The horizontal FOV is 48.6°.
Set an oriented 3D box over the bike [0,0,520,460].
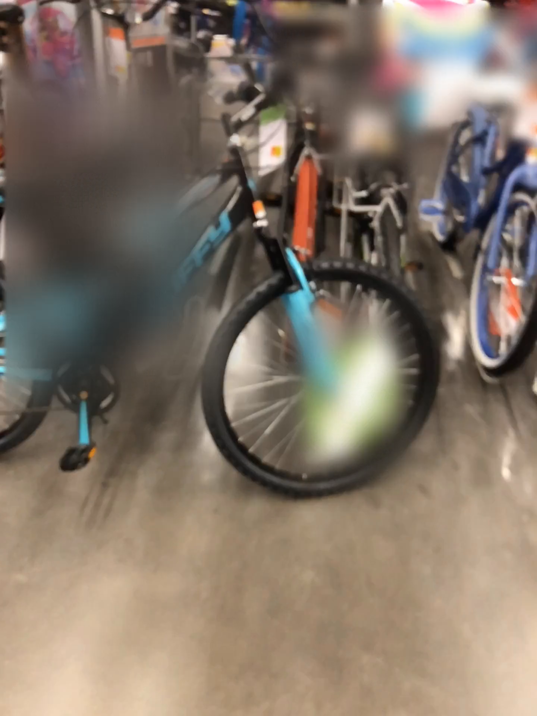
[{"bbox_3d":[-0.344,-0.318,1.670,1.704,1.120,0.547,0,35,1],"label":"bike"}]
